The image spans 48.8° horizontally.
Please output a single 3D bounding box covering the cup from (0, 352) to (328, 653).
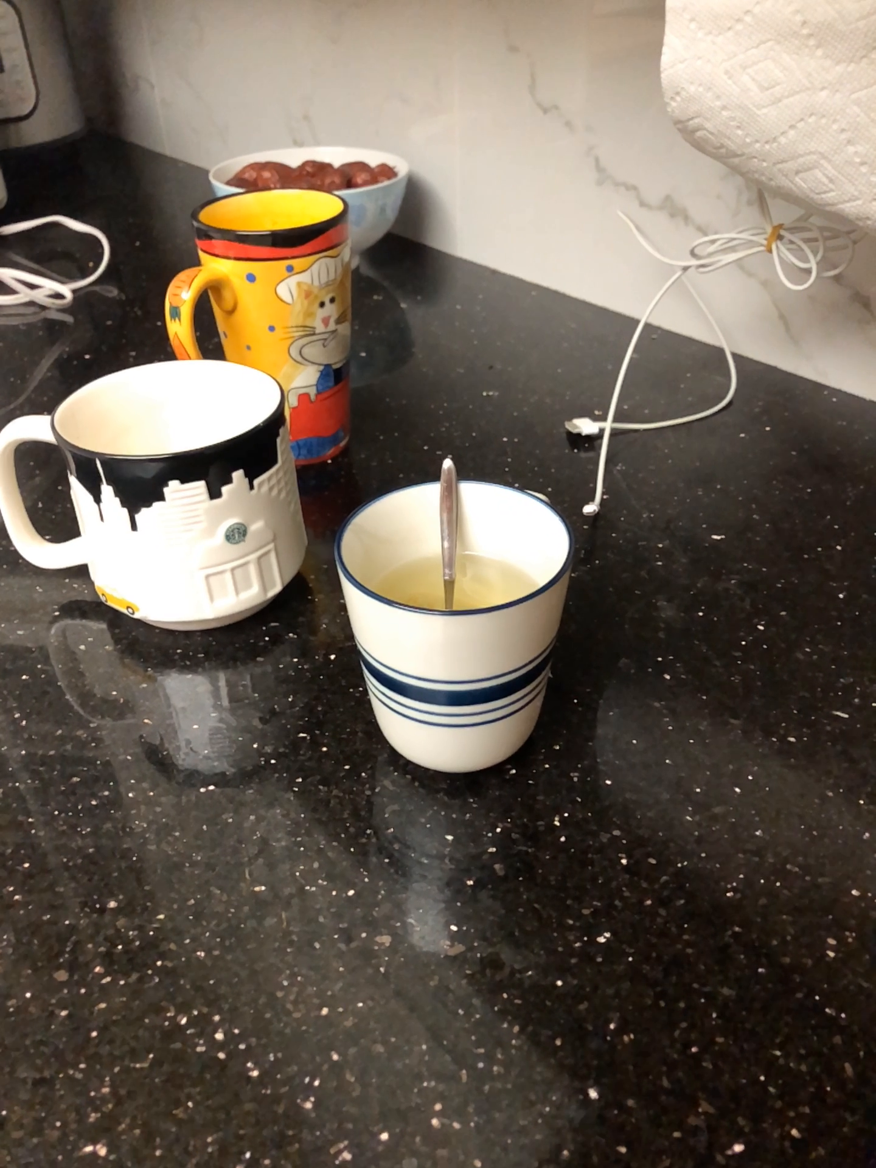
[{"bbox_3d":[-0.138,-0.043,0.473,0.140,0.099,0.111,2,36,6],"label":"cup"}]

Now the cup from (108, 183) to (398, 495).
[{"bbox_3d":[-0.099,-0.149,0.569,0.090,0.129,0.131,18,40,25],"label":"cup"}]

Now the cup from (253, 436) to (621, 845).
[{"bbox_3d":[0.008,0.014,0.392,0.100,0.080,0.141,10,37,16],"label":"cup"}]
